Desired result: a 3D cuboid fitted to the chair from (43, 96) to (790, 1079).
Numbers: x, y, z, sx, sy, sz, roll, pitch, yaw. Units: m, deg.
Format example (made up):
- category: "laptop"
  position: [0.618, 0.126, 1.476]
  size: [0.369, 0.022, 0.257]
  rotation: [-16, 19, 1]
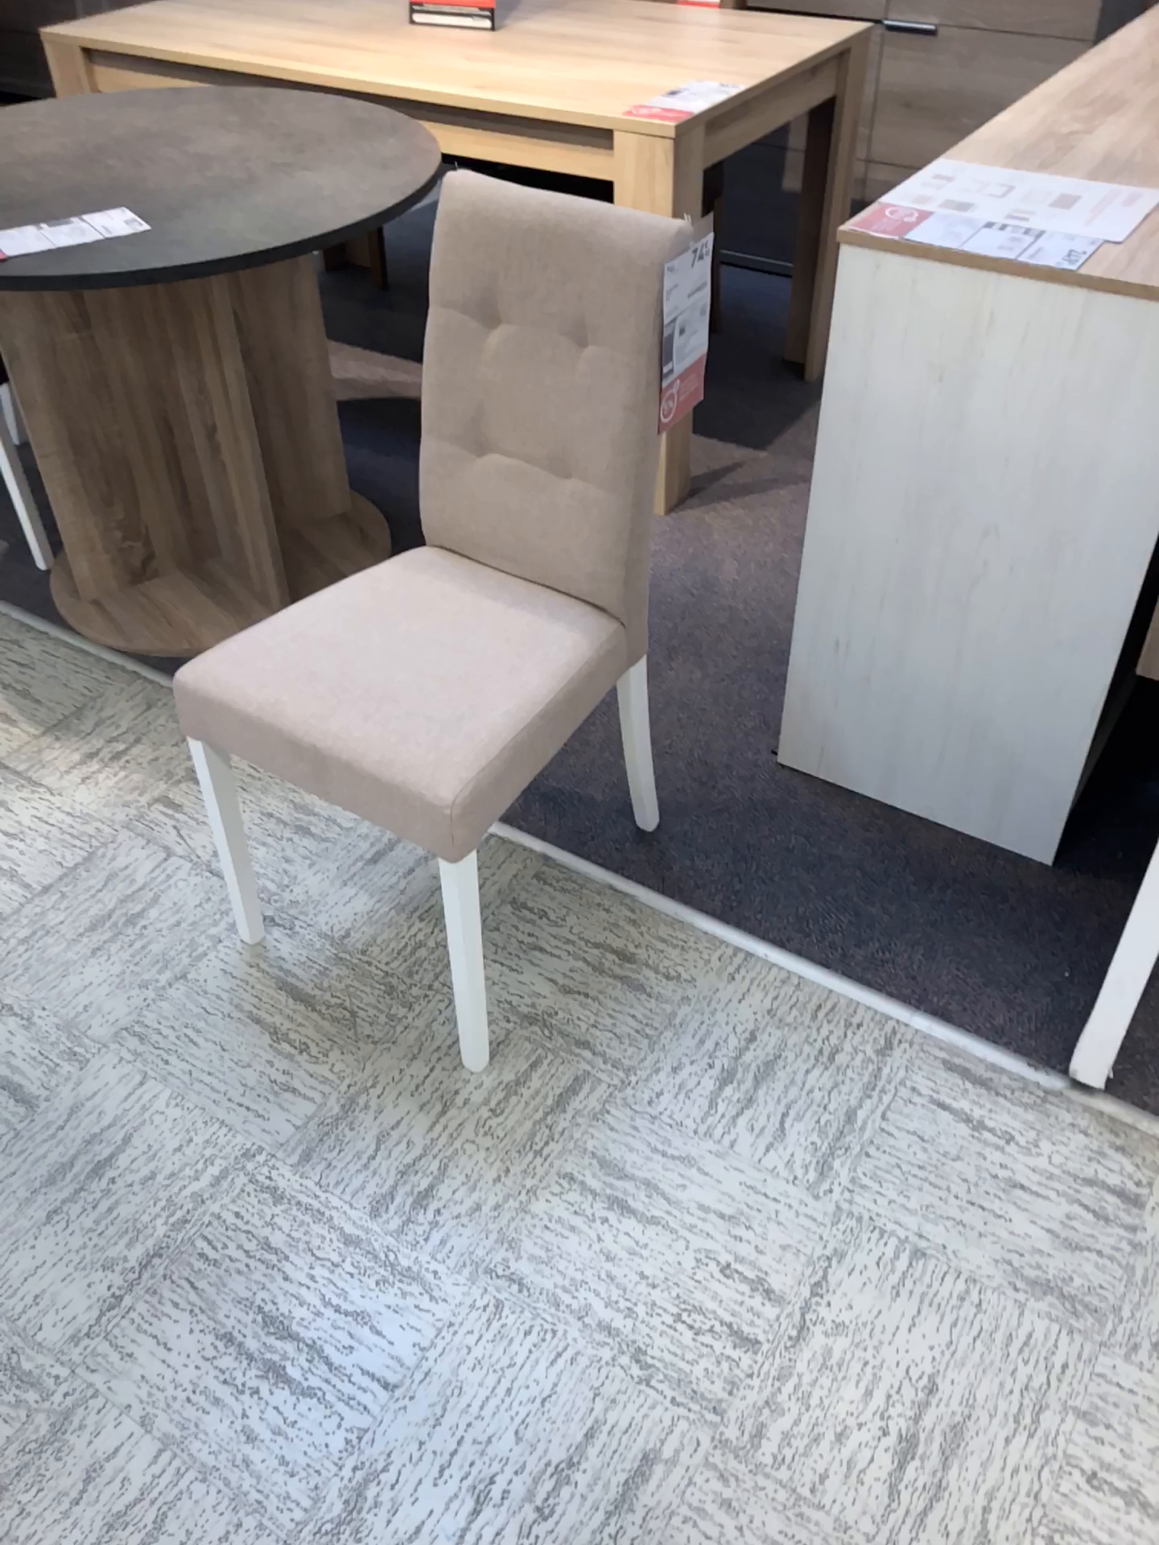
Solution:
- category: "chair"
  position: [-0.117, -0.201, 1.414]
  size: [0.430, 0.855, 0.533]
  rotation: [23, 46, 26]
